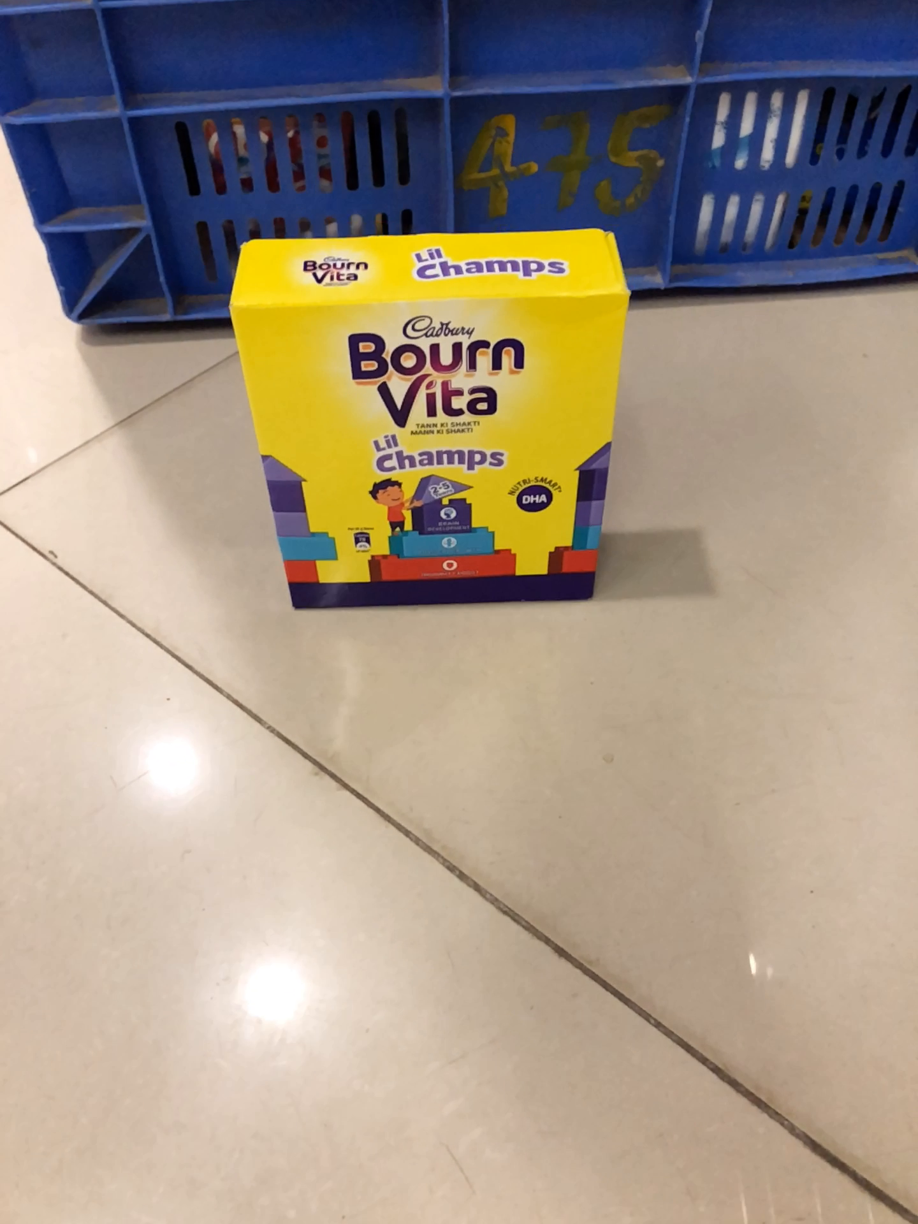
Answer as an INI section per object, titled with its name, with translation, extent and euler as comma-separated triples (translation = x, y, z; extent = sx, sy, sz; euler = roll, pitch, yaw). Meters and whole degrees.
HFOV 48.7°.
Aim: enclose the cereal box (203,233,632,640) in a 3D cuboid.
[cereal box]
translation = -0.013, -0.066, 0.432
extent = 0.150, 0.169, 0.050
euler = -2, 46, 0
